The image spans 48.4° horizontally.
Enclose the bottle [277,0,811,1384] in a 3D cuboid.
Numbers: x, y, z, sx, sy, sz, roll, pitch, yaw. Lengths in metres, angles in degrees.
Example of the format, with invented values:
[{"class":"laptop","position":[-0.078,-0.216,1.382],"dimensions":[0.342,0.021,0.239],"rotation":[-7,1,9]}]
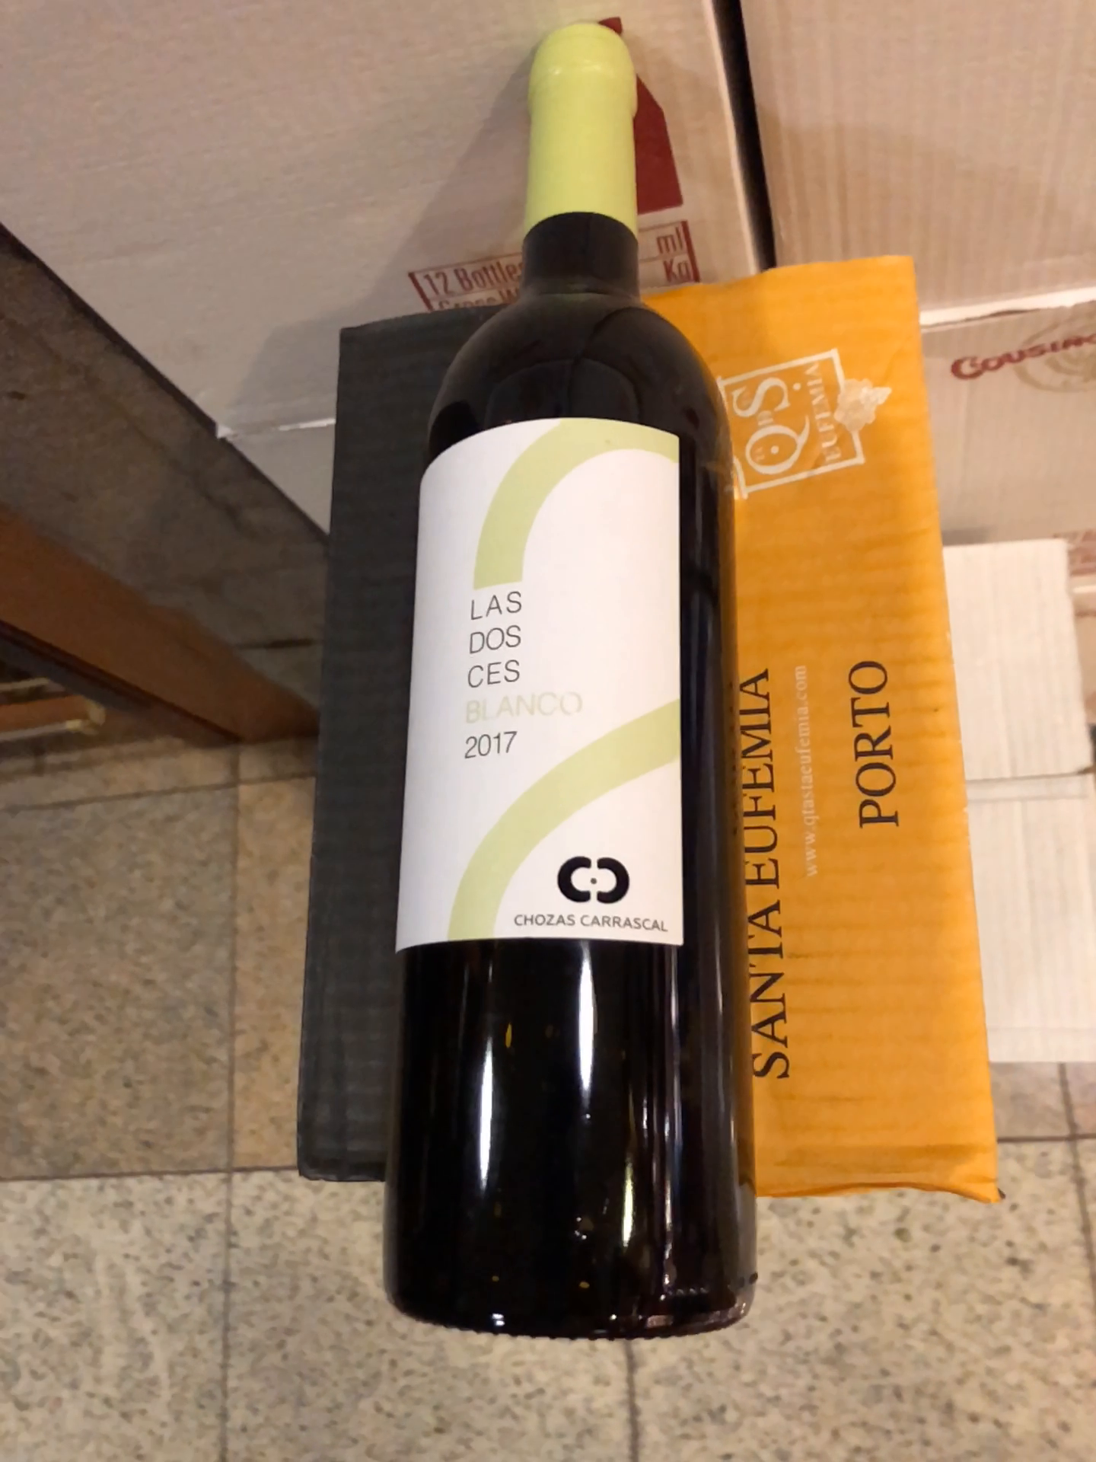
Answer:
[{"class":"bottle","position":[0.004,-0.040,0.278],"dimensions":[0.090,0.070,0.320],"rotation":[-3,76,14]}]
